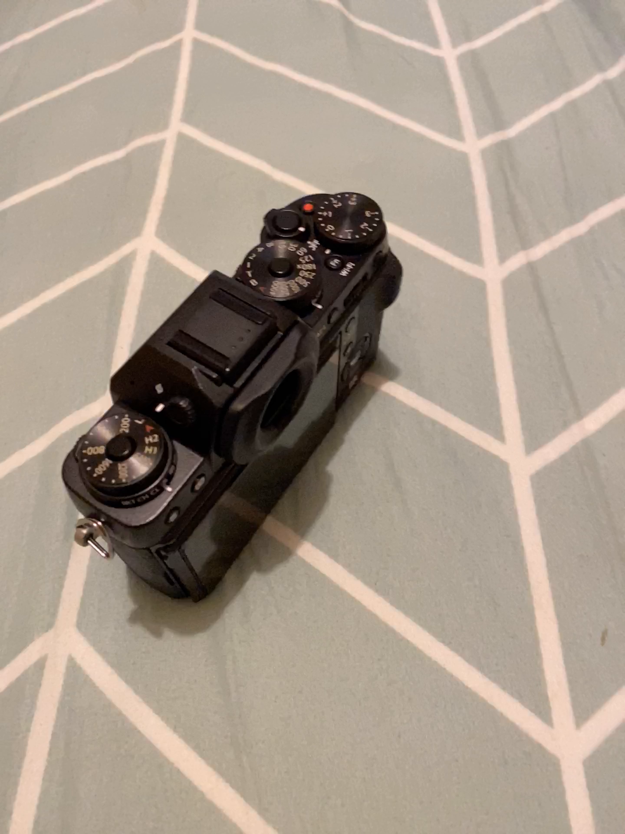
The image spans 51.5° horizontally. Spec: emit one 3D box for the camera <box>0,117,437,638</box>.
[{"bbox_3d":[-0.023,-0.013,0.211,0.054,0.082,0.142,29,65,15],"label":"camera"}]
